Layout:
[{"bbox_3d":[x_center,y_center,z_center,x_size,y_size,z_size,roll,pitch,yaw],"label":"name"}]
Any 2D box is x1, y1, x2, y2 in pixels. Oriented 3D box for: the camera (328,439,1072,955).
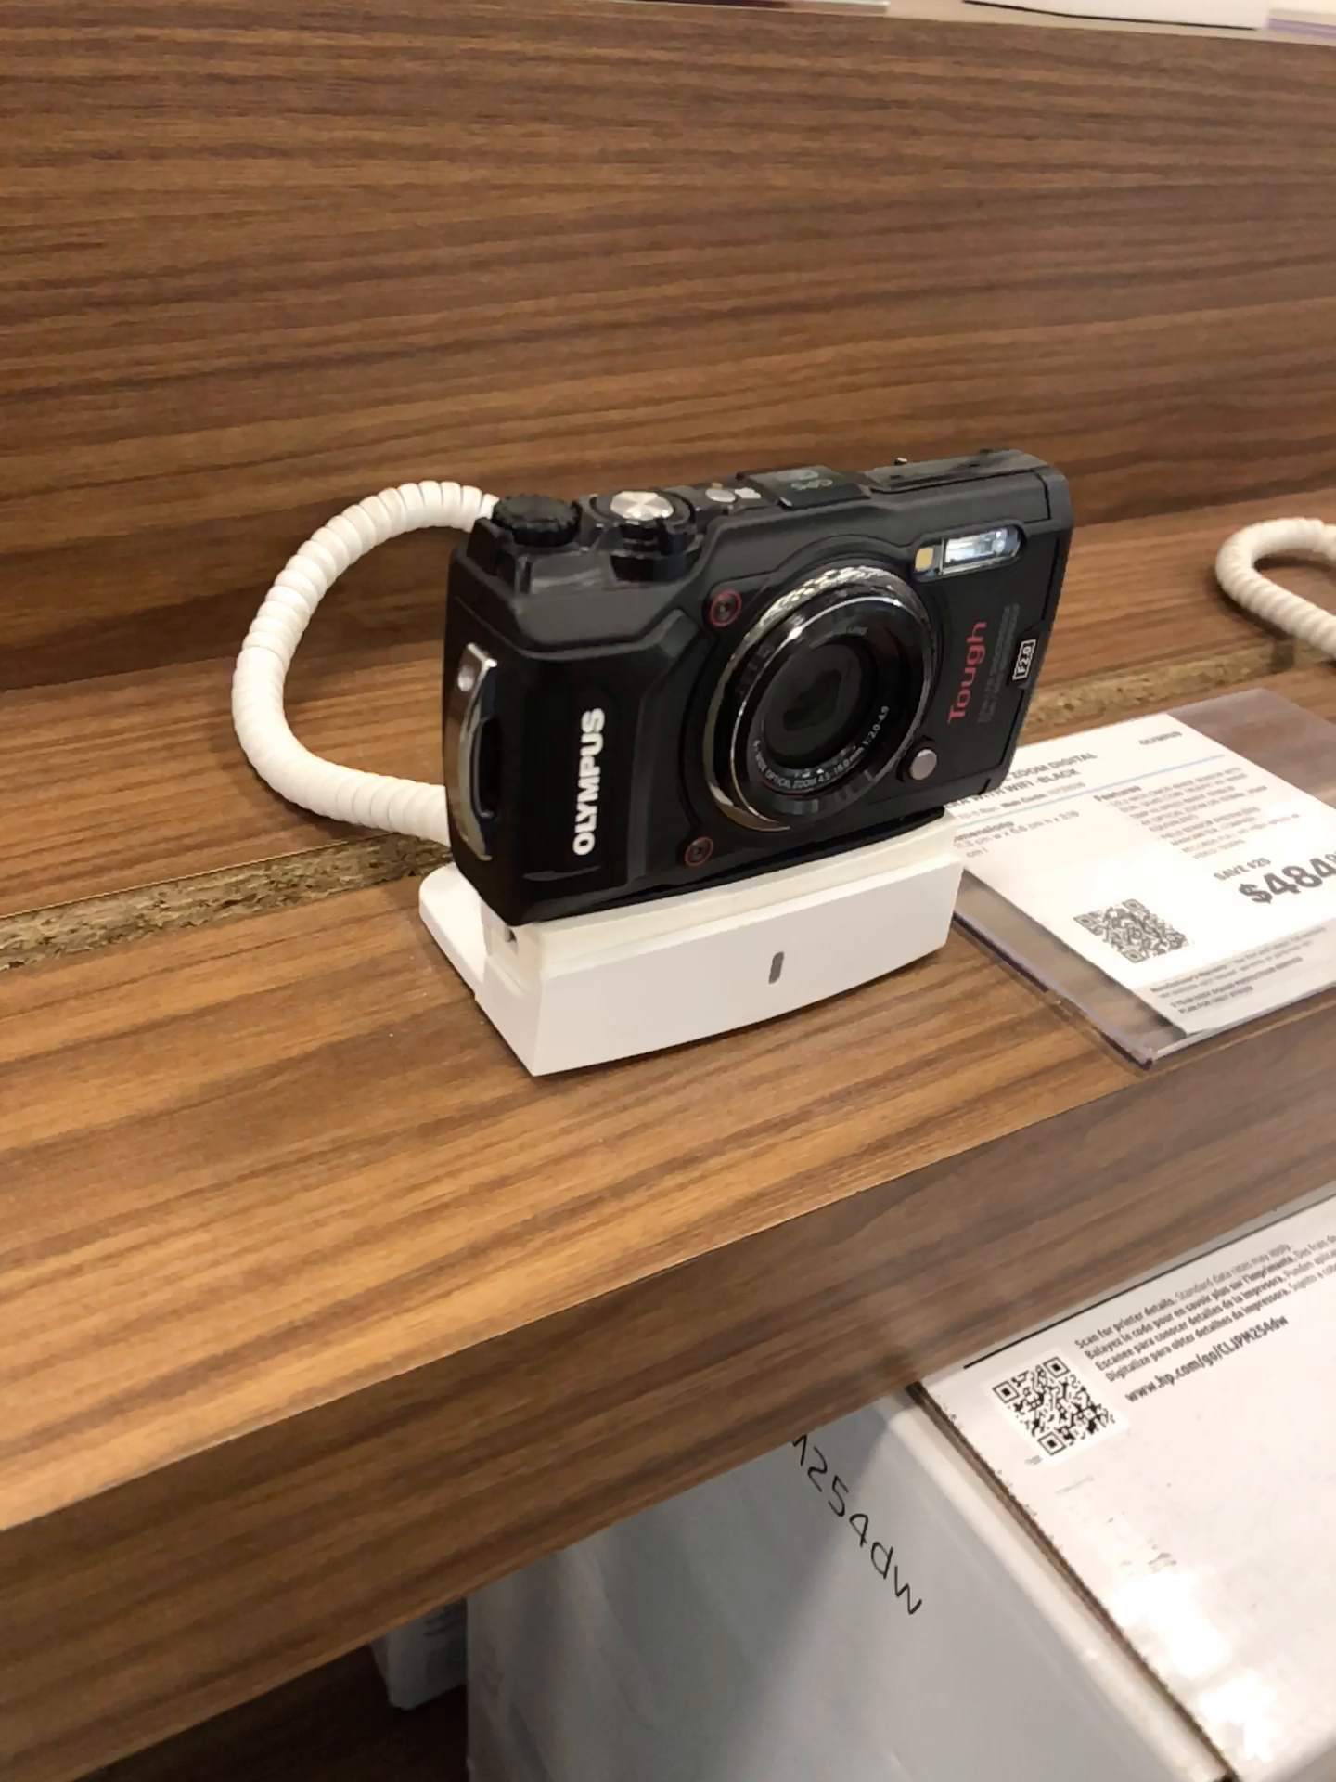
[{"bbox_3d":[0.008,-0.037,0.251,0.120,0.060,0.030,-15,36,-28],"label":"camera"}]
